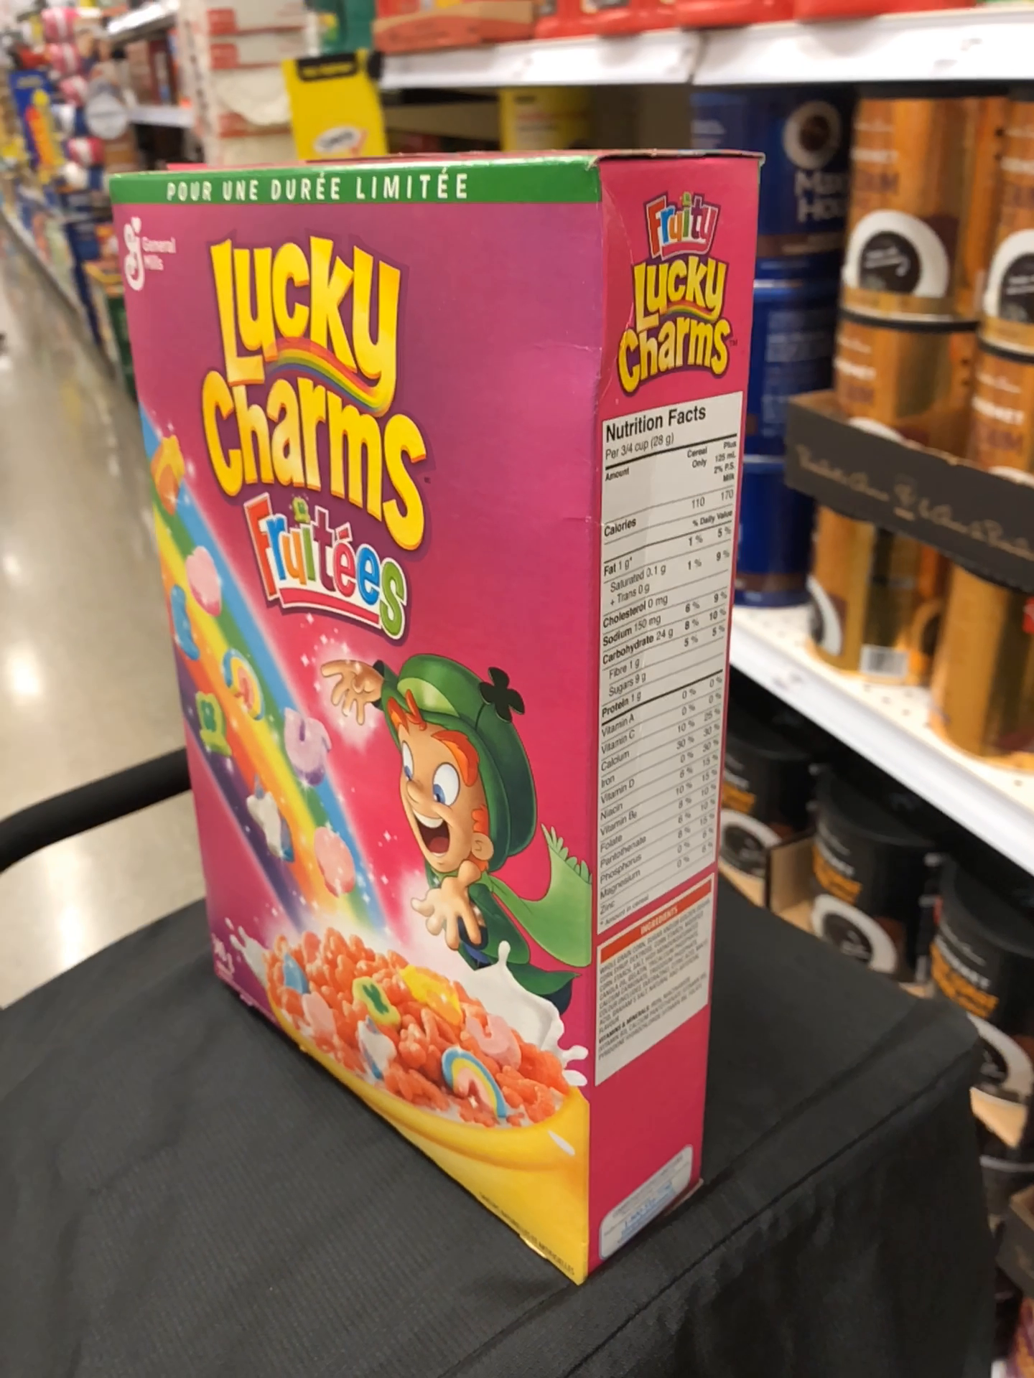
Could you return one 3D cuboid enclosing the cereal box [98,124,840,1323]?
[{"bbox_3d":[-0.026,0.001,0.343,0.060,0.299,0.201,-23,33,-40],"label":"cereal box"}]
